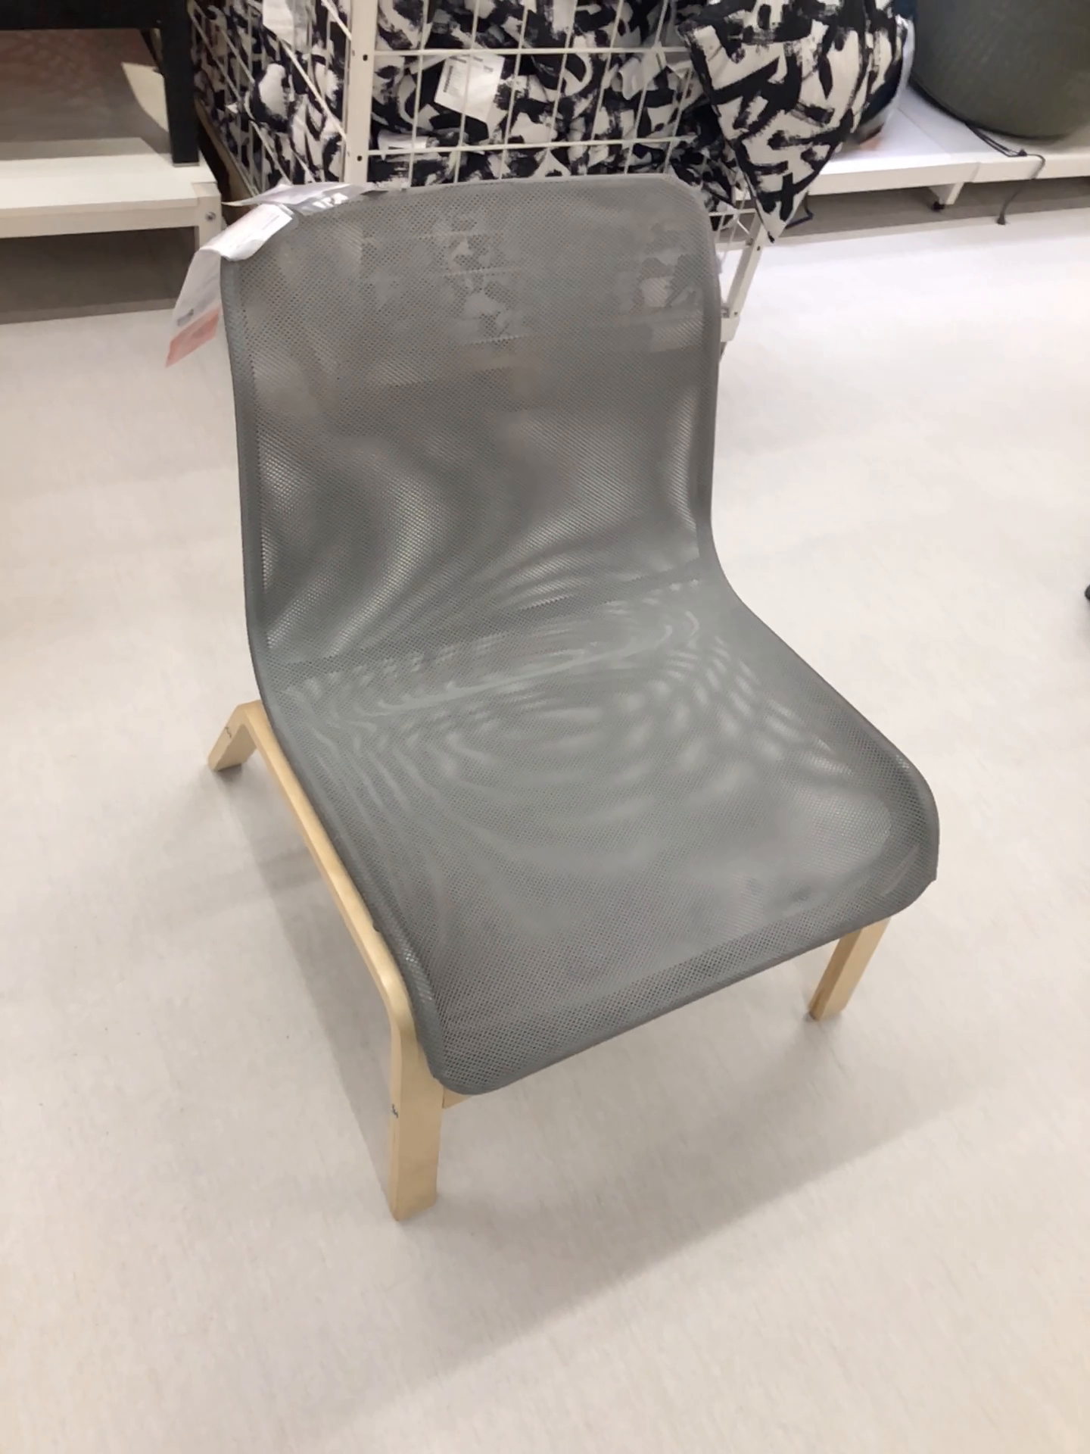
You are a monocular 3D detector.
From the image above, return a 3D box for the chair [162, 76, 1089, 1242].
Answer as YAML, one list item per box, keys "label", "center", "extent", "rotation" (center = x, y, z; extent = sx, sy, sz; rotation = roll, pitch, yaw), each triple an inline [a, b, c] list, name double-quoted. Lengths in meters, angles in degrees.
- label: "chair"
  center: [0.059, -0.055, 1.182]
  extent: [0.631, 0.825, 0.642]
  rotation: [-17, 58, -25]
